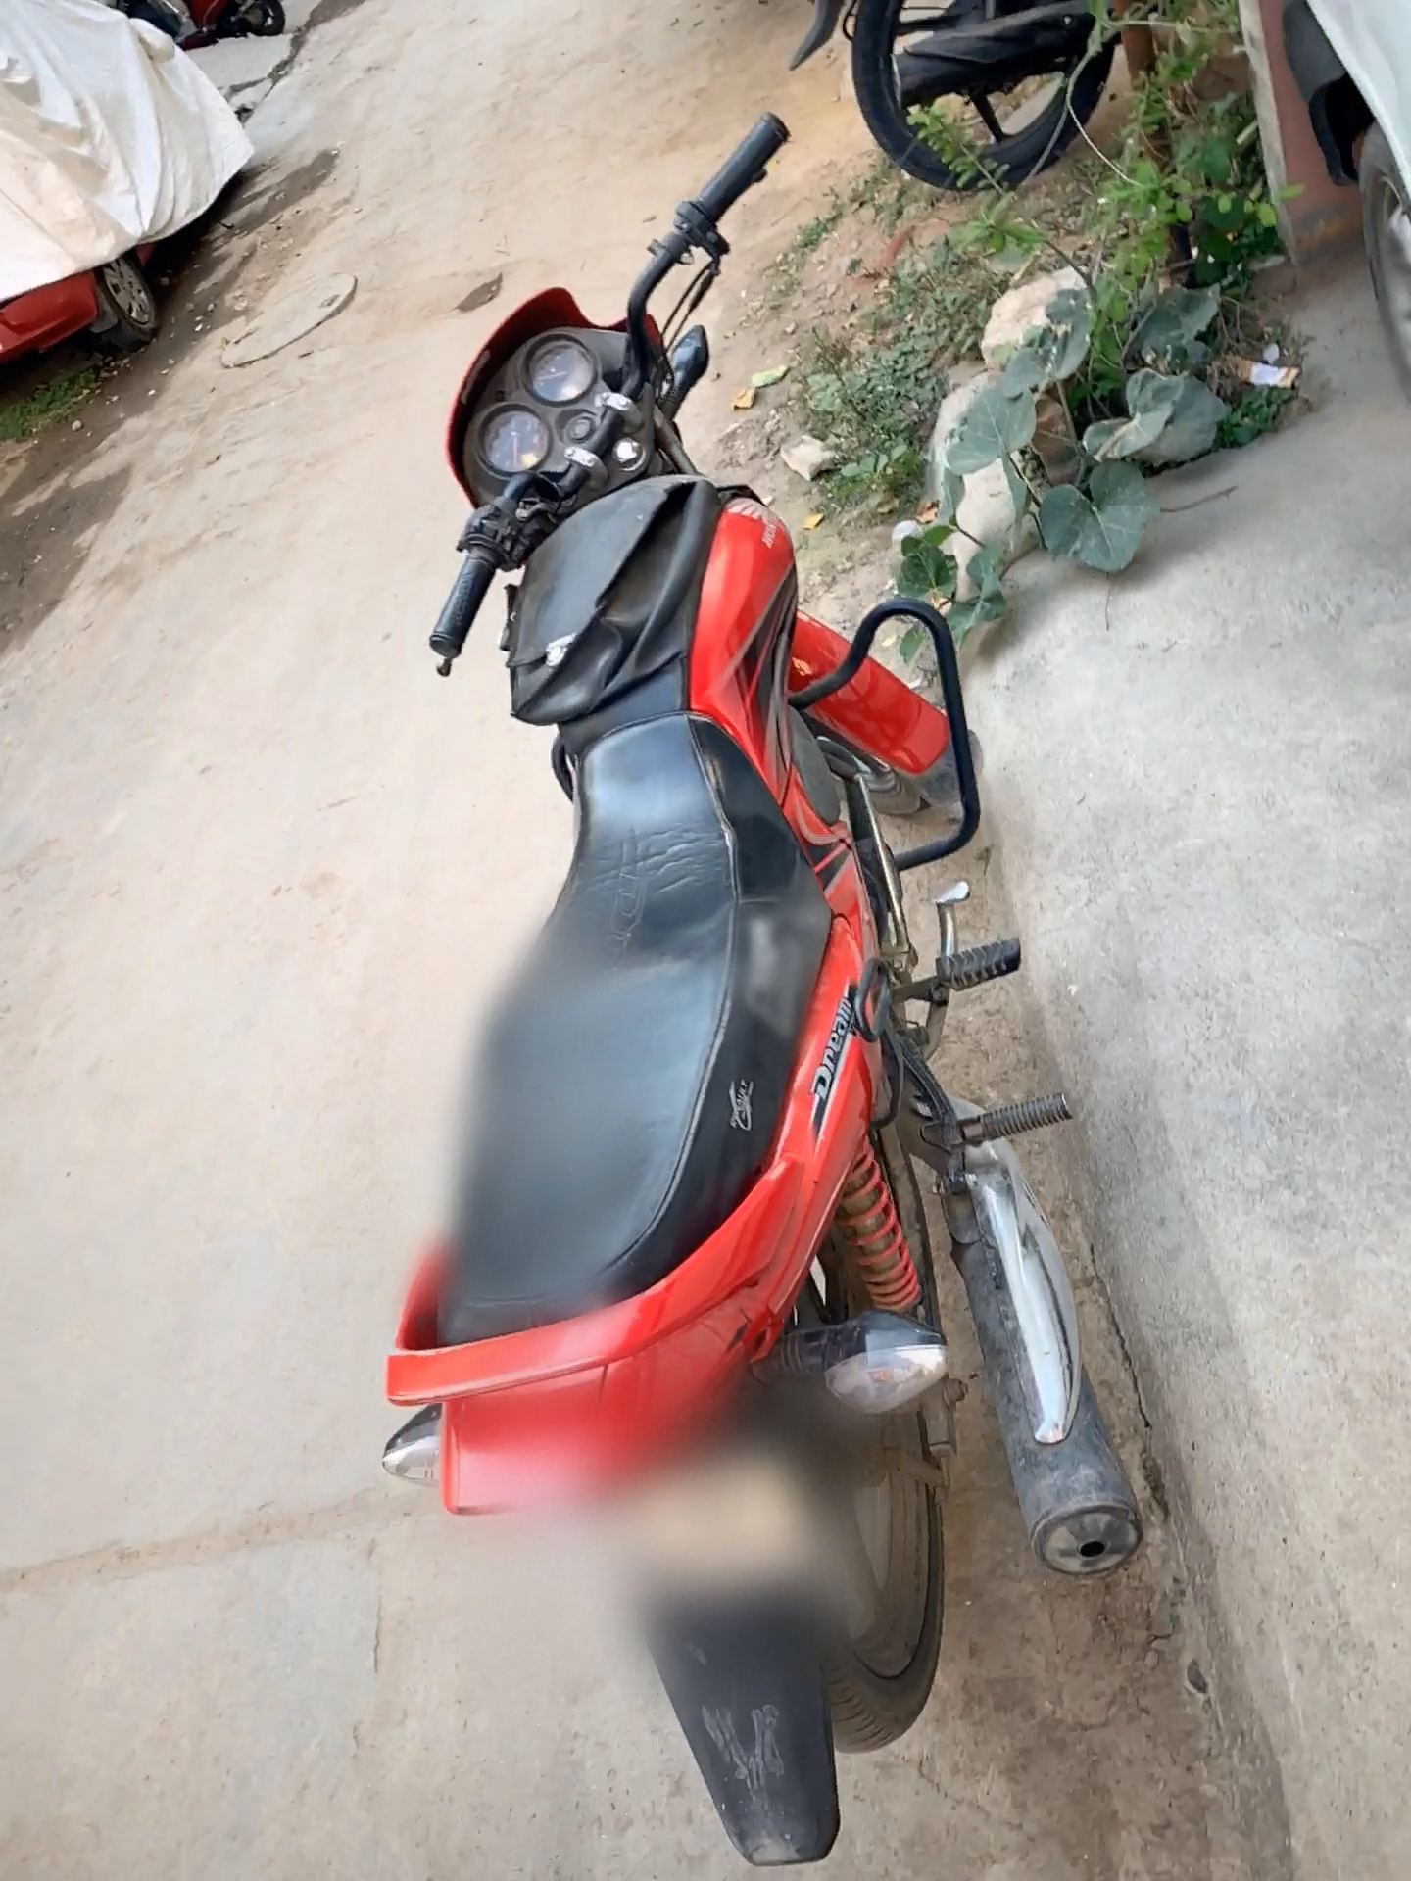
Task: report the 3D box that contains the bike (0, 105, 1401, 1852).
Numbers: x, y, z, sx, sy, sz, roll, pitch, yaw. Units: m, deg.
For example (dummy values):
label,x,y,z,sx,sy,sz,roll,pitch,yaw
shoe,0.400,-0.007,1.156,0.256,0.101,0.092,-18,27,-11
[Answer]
label,x,y,z,sx,sy,sz,roll,pitch,yaw
bike,-0.028,-0.058,1.695,0.760,1.091,1.714,-22,41,12
